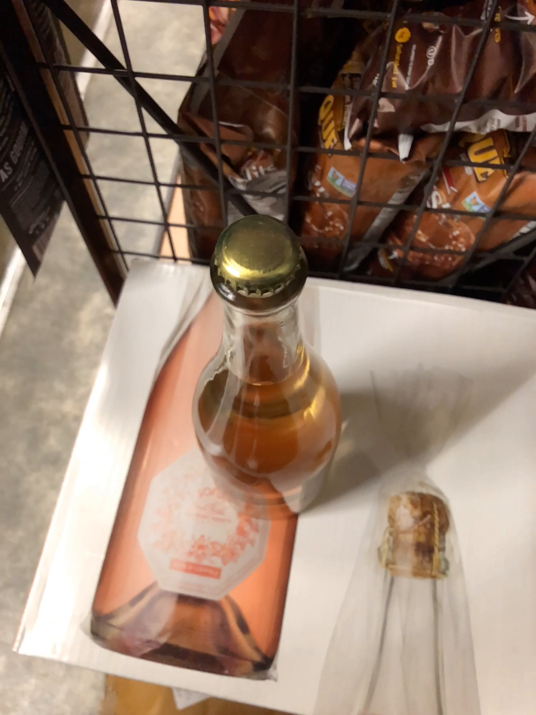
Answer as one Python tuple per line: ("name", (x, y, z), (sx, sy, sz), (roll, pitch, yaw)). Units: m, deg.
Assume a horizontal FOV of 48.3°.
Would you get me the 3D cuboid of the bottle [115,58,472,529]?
("bottle", (0.012, 0.009, 0.332), (0.095, 0.305, 0.099), (0, 65, 0))
